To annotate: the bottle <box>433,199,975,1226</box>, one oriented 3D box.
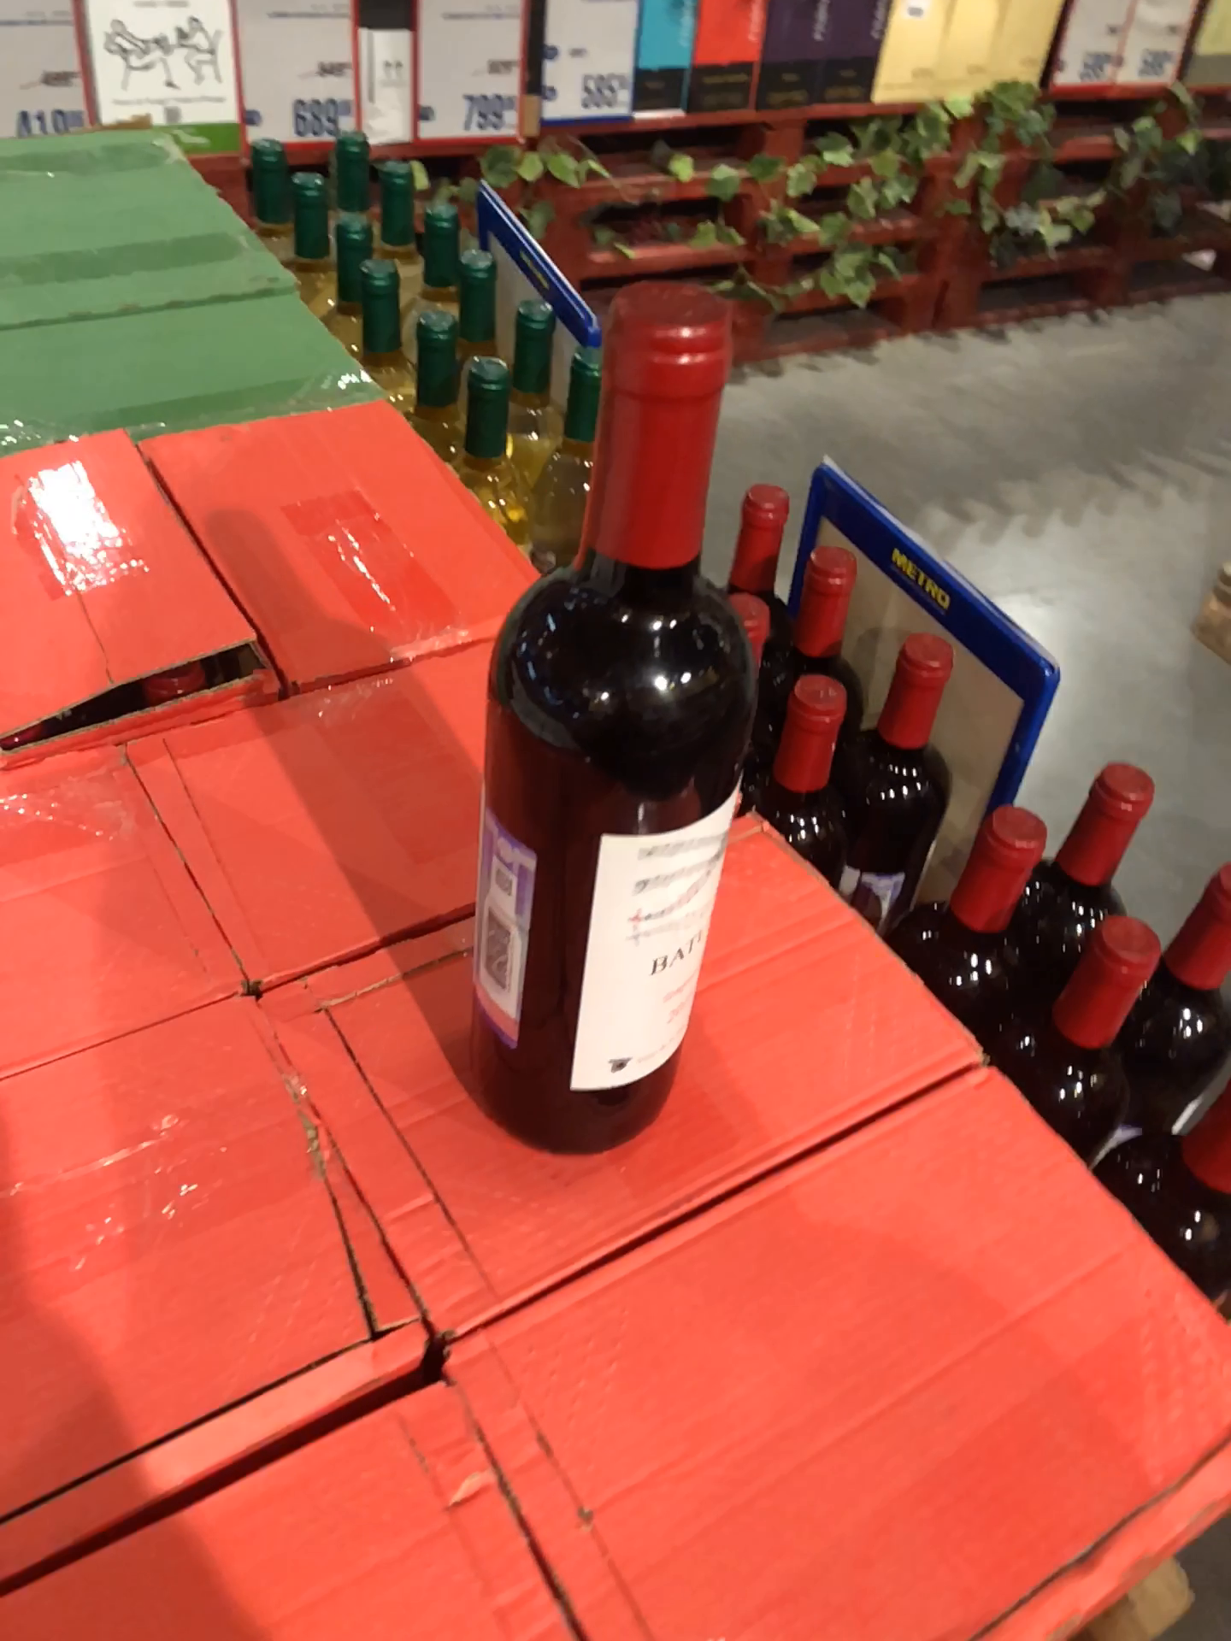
[{"bbox_3d":[0.010,-0.010,0.393,0.080,0.287,0.091,24,45,14],"label":"bottle"}]
